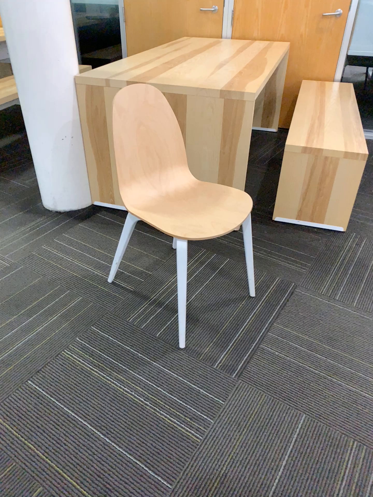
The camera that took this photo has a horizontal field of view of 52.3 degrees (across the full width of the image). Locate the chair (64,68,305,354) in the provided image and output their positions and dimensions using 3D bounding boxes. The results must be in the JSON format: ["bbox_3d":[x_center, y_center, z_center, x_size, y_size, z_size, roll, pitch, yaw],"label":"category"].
[{"bbox_3d":[-0.014,-0.180,1.467,0.551,0.815,0.562,-29,45,-36],"label":"chair"}]
